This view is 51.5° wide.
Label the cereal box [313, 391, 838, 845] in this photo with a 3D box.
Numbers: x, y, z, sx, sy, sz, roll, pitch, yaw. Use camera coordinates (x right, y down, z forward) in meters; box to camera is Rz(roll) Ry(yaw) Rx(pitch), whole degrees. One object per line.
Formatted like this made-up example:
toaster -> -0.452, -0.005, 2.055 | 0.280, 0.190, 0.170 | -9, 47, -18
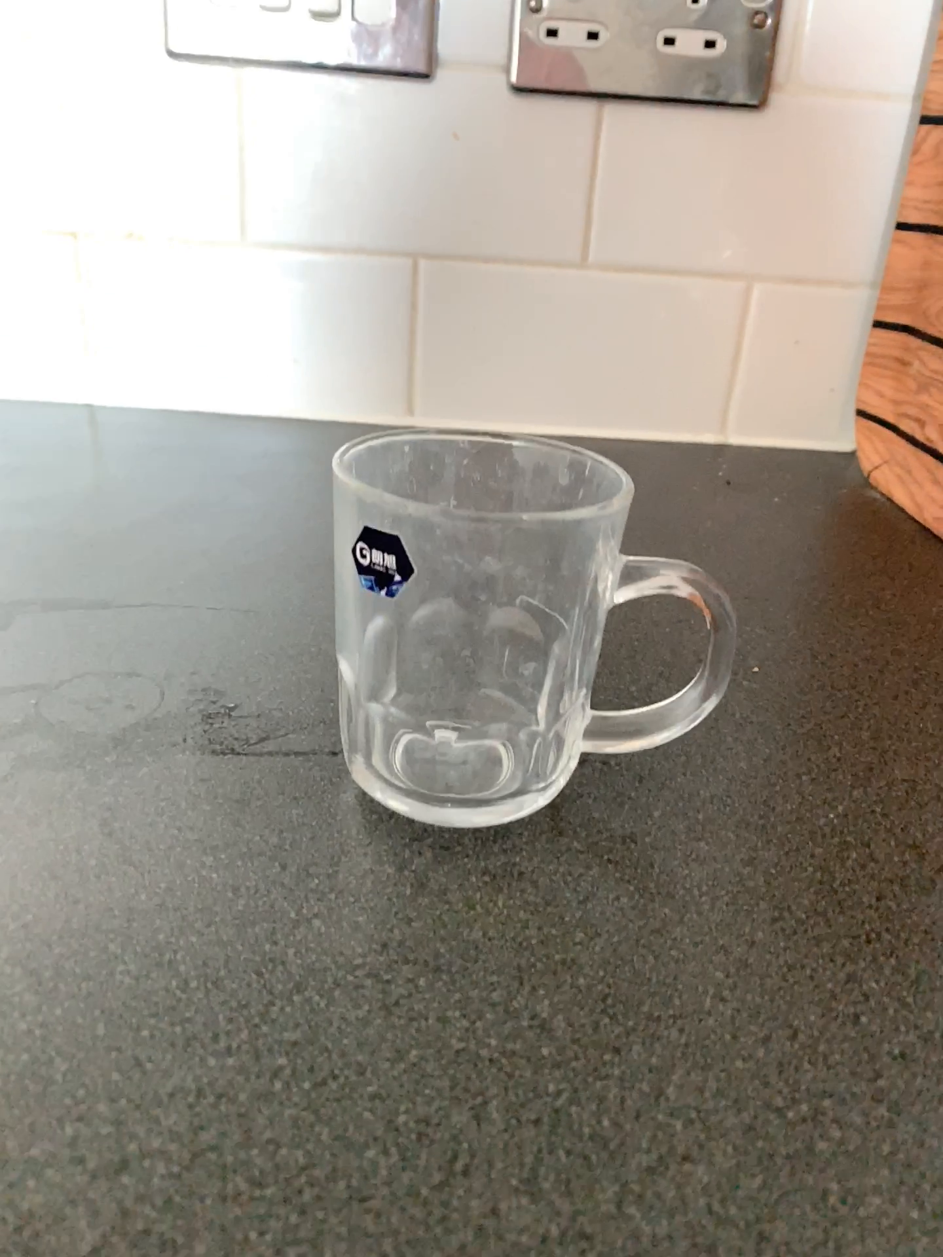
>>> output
cereal box -> 0.018, -0.006, 0.257 | 0.110, 0.089, 0.081 | 2, 25, -4
